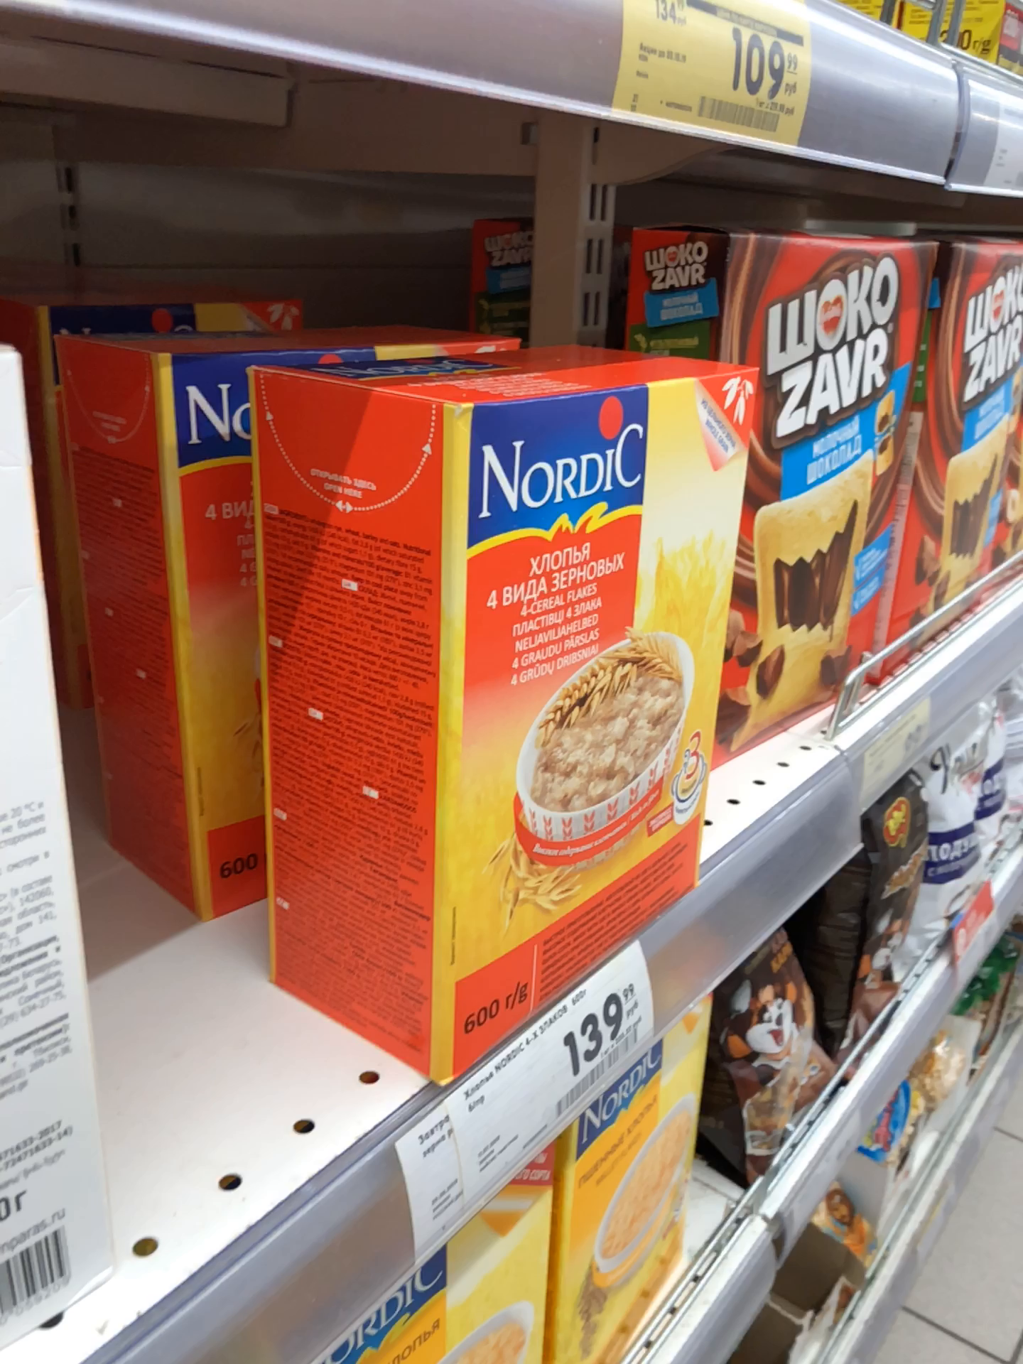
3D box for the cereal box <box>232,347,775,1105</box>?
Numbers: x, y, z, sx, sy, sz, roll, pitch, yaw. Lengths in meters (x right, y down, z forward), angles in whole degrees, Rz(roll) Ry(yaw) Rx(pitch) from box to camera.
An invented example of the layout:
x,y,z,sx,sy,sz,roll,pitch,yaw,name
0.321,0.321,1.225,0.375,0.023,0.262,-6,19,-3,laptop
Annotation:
x,y,z,sx,sy,sz,roll,pitch,yaw,name
0.002,-0.001,0.360,0.080,0.189,0.151,18,26,35,cereal box
